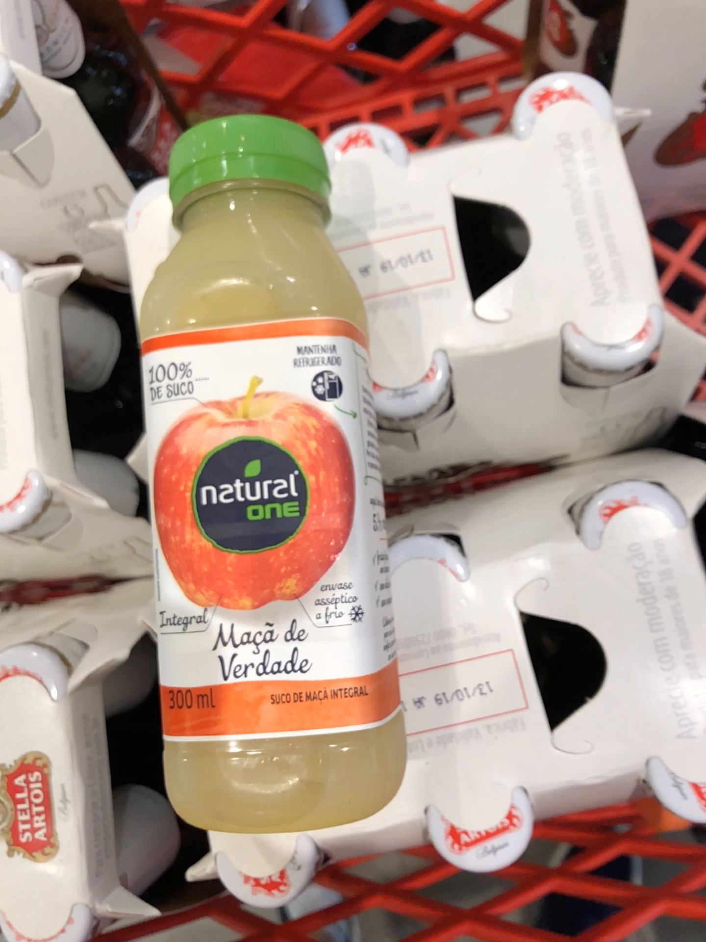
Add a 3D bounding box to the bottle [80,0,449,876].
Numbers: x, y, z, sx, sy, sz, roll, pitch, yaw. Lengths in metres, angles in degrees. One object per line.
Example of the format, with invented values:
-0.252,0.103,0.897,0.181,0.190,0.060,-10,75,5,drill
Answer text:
-0.018,-0.014,0.184,0.060,0.060,0.180,-6,81,8,bottle
